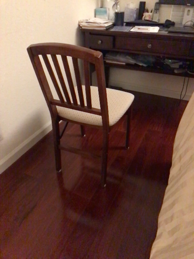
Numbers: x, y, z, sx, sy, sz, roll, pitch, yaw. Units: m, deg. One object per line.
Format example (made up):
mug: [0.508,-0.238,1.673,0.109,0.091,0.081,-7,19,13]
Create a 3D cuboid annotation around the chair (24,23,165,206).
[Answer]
chair: [0.046,-0.155,1.404,0.530,0.893,0.725,14,36,20]
